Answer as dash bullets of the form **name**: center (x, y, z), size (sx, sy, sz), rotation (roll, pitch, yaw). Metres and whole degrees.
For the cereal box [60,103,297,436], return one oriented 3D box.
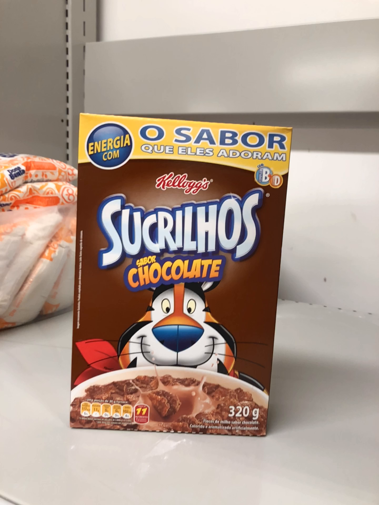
- **cereal box**: center (-0.014, 0.018, 0.380), size (0.180, 0.269, 0.070), rotation (3, 7, -4)
